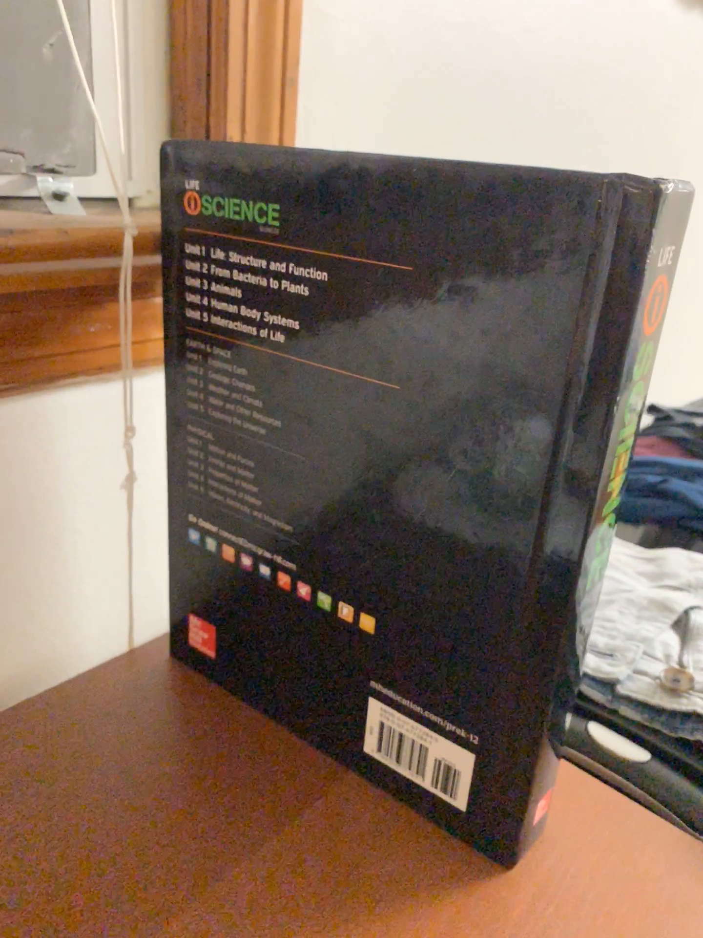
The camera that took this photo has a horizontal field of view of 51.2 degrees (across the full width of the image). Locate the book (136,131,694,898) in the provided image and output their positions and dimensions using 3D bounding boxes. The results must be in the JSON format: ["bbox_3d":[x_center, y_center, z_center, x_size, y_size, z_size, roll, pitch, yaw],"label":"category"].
[{"bbox_3d":[-0.002,0.008,0.337,0.227,0.286,0.051,20,26,34],"label":"book"}]
